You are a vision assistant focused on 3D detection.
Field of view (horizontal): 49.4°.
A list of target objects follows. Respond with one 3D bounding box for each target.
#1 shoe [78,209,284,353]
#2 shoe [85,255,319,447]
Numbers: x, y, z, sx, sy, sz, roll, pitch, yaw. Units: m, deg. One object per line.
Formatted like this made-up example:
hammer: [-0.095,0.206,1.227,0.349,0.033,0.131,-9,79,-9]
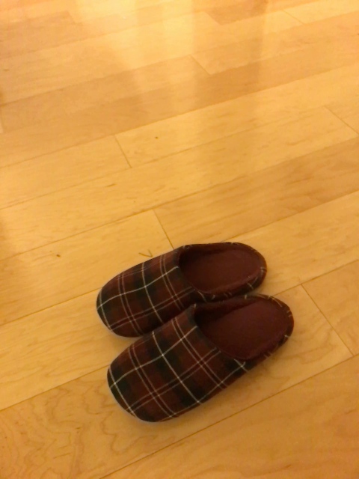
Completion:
shoe: [0.000,0.052,0.560,0.260,0.050,0.121,-19,52,-11]
shoe: [0.030,0.133,0.510,0.271,0.050,0.120,-25,53,-16]
